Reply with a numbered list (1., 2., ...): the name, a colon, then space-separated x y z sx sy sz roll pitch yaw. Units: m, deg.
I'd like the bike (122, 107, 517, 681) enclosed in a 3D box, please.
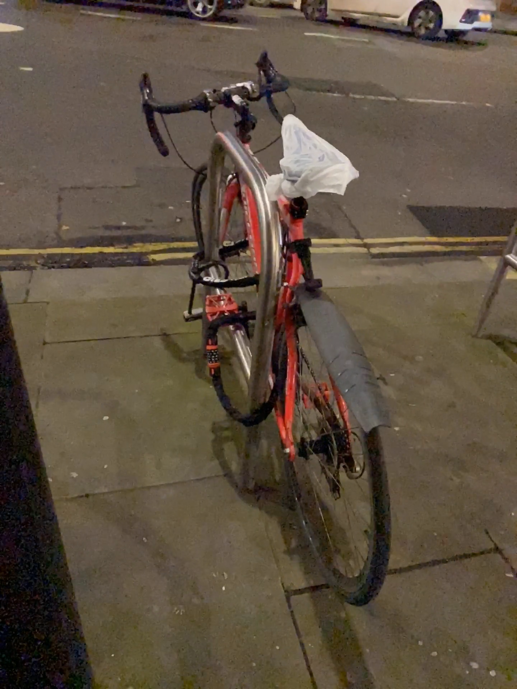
1. bike: -0.042 -0.096 1.608 0.537 0.809 1.669 -6 37 -16
